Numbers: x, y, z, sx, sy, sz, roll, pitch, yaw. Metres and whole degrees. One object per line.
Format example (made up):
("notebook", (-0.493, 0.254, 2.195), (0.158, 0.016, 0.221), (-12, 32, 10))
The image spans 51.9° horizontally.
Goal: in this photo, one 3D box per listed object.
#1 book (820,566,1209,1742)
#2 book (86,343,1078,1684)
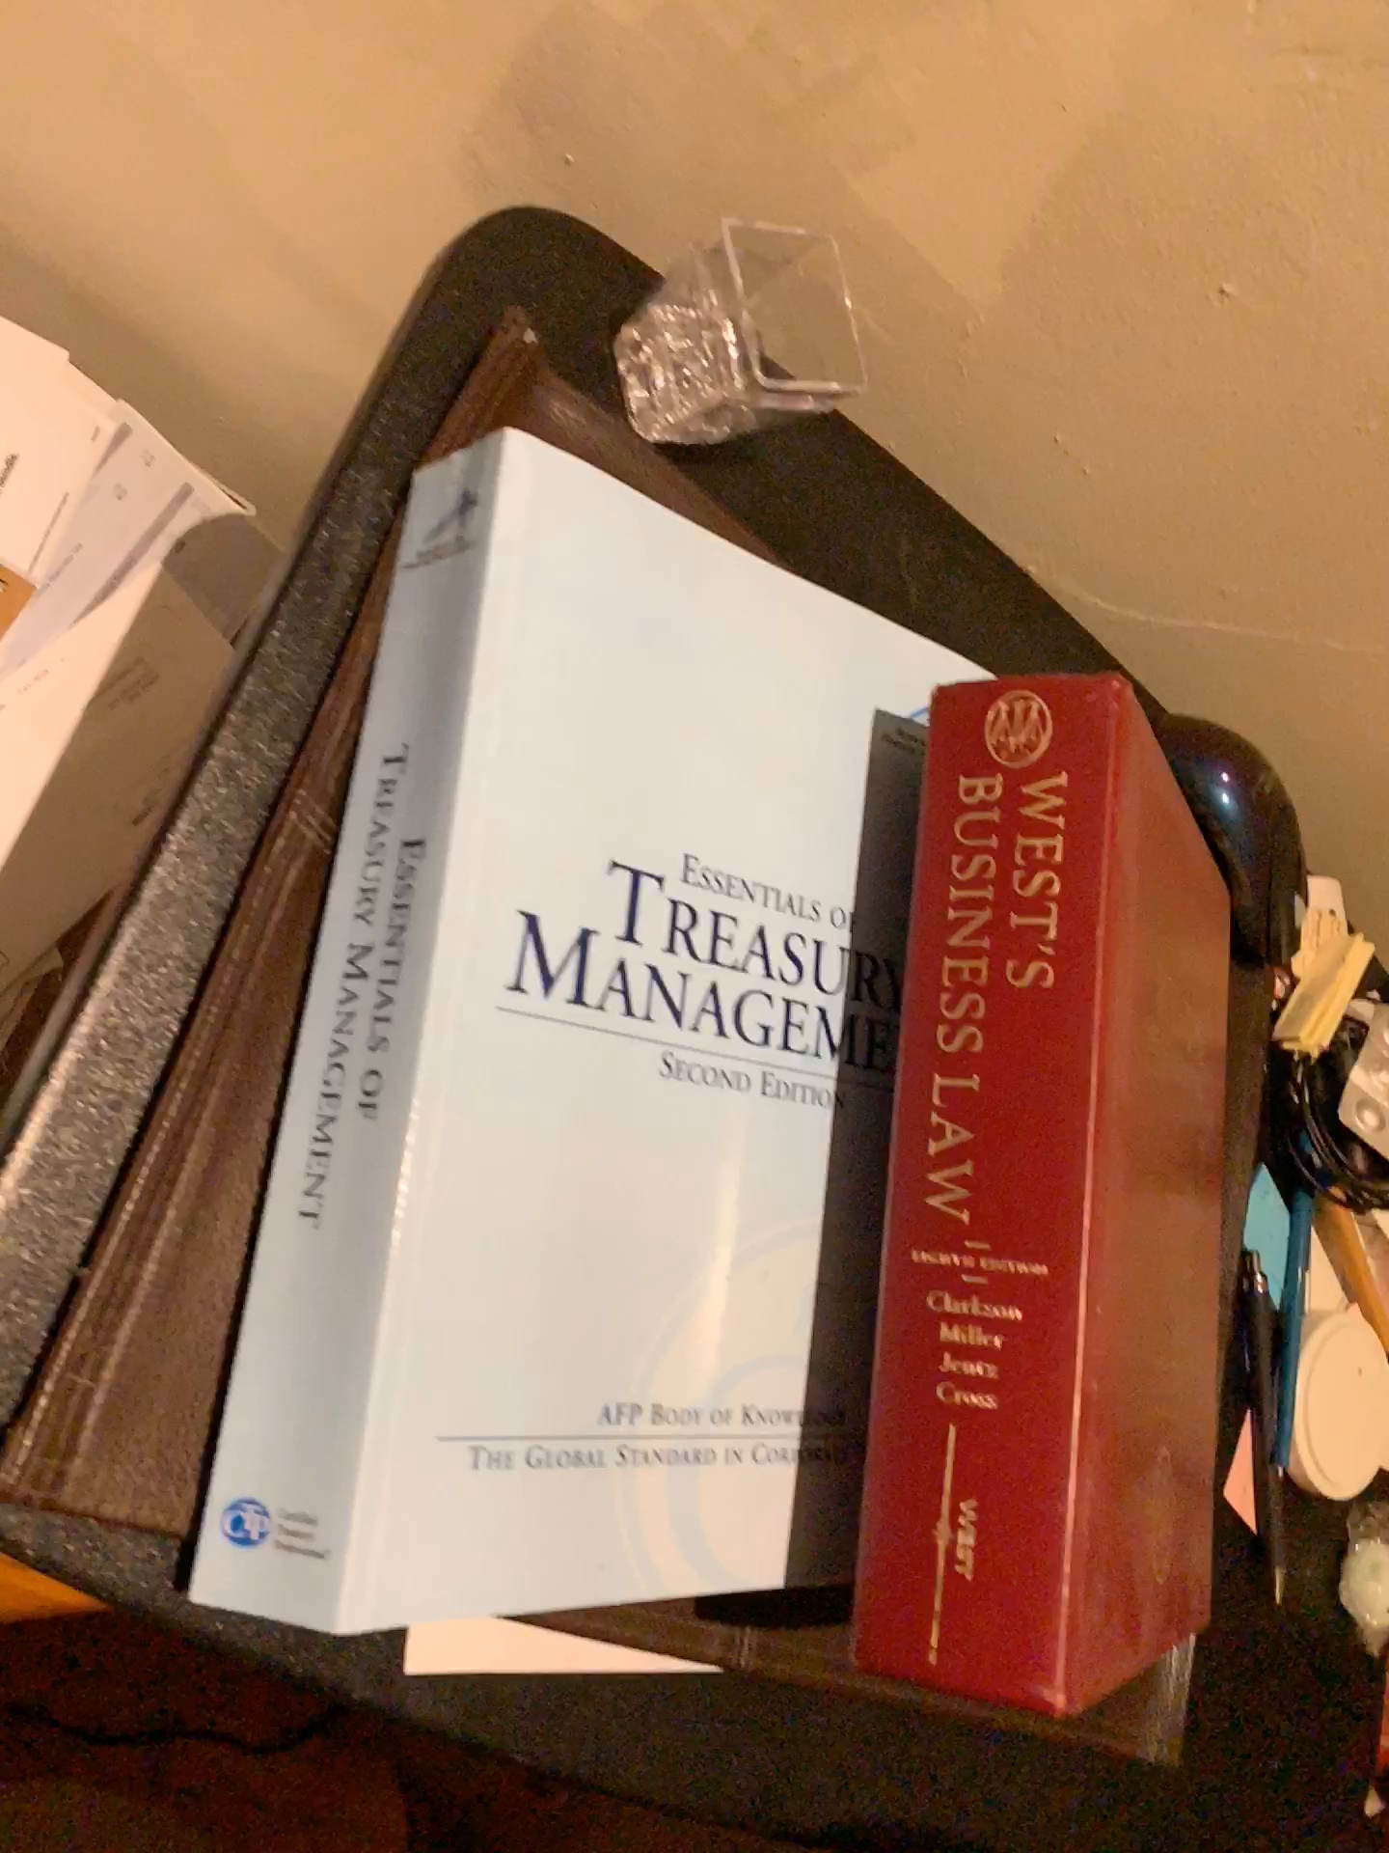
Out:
("book", (0.112, 0.068, 0.429), (0.211, 0.050, 0.270), (33, 61, -59))
("book", (-0.004, 0.034, 0.372), (0.221, 0.070, 0.270), (19, 71, -36))
